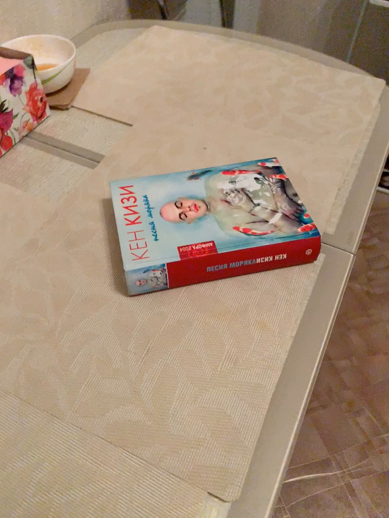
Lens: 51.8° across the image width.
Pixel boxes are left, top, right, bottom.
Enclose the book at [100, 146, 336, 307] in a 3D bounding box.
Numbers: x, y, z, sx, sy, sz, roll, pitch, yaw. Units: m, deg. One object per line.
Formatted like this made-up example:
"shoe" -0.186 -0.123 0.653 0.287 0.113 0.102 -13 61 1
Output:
"book" 0.015 -0.044 0.426 0.210 0.040 0.151 -11 53 -9
